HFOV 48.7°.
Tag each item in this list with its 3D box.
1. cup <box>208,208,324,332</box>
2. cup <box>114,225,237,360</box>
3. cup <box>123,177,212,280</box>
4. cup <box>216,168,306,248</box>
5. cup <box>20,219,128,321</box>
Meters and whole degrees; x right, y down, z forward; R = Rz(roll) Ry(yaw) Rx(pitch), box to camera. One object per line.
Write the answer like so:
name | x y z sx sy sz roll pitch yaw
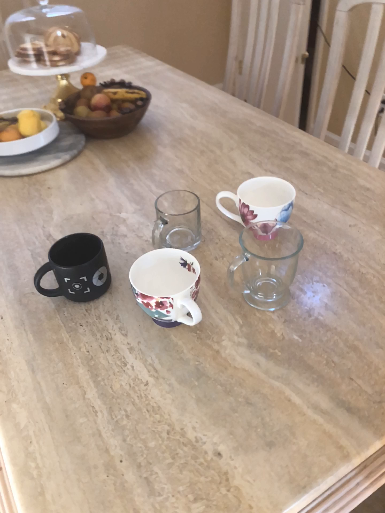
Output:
cup | 0.112 0.019 0.676 0.140 0.119 0.101 -22 44 -19
cup | -0.025 0.049 0.643 0.111 0.099 0.151 -29 47 -26
cup | -0.041 -0.055 0.796 0.090 0.119 0.131 26 50 31
cup | 0.124 -0.094 0.814 0.150 0.099 0.111 -3 41 1
cup | -0.202 0.020 0.732 0.140 0.089 0.101 -22 44 -19
